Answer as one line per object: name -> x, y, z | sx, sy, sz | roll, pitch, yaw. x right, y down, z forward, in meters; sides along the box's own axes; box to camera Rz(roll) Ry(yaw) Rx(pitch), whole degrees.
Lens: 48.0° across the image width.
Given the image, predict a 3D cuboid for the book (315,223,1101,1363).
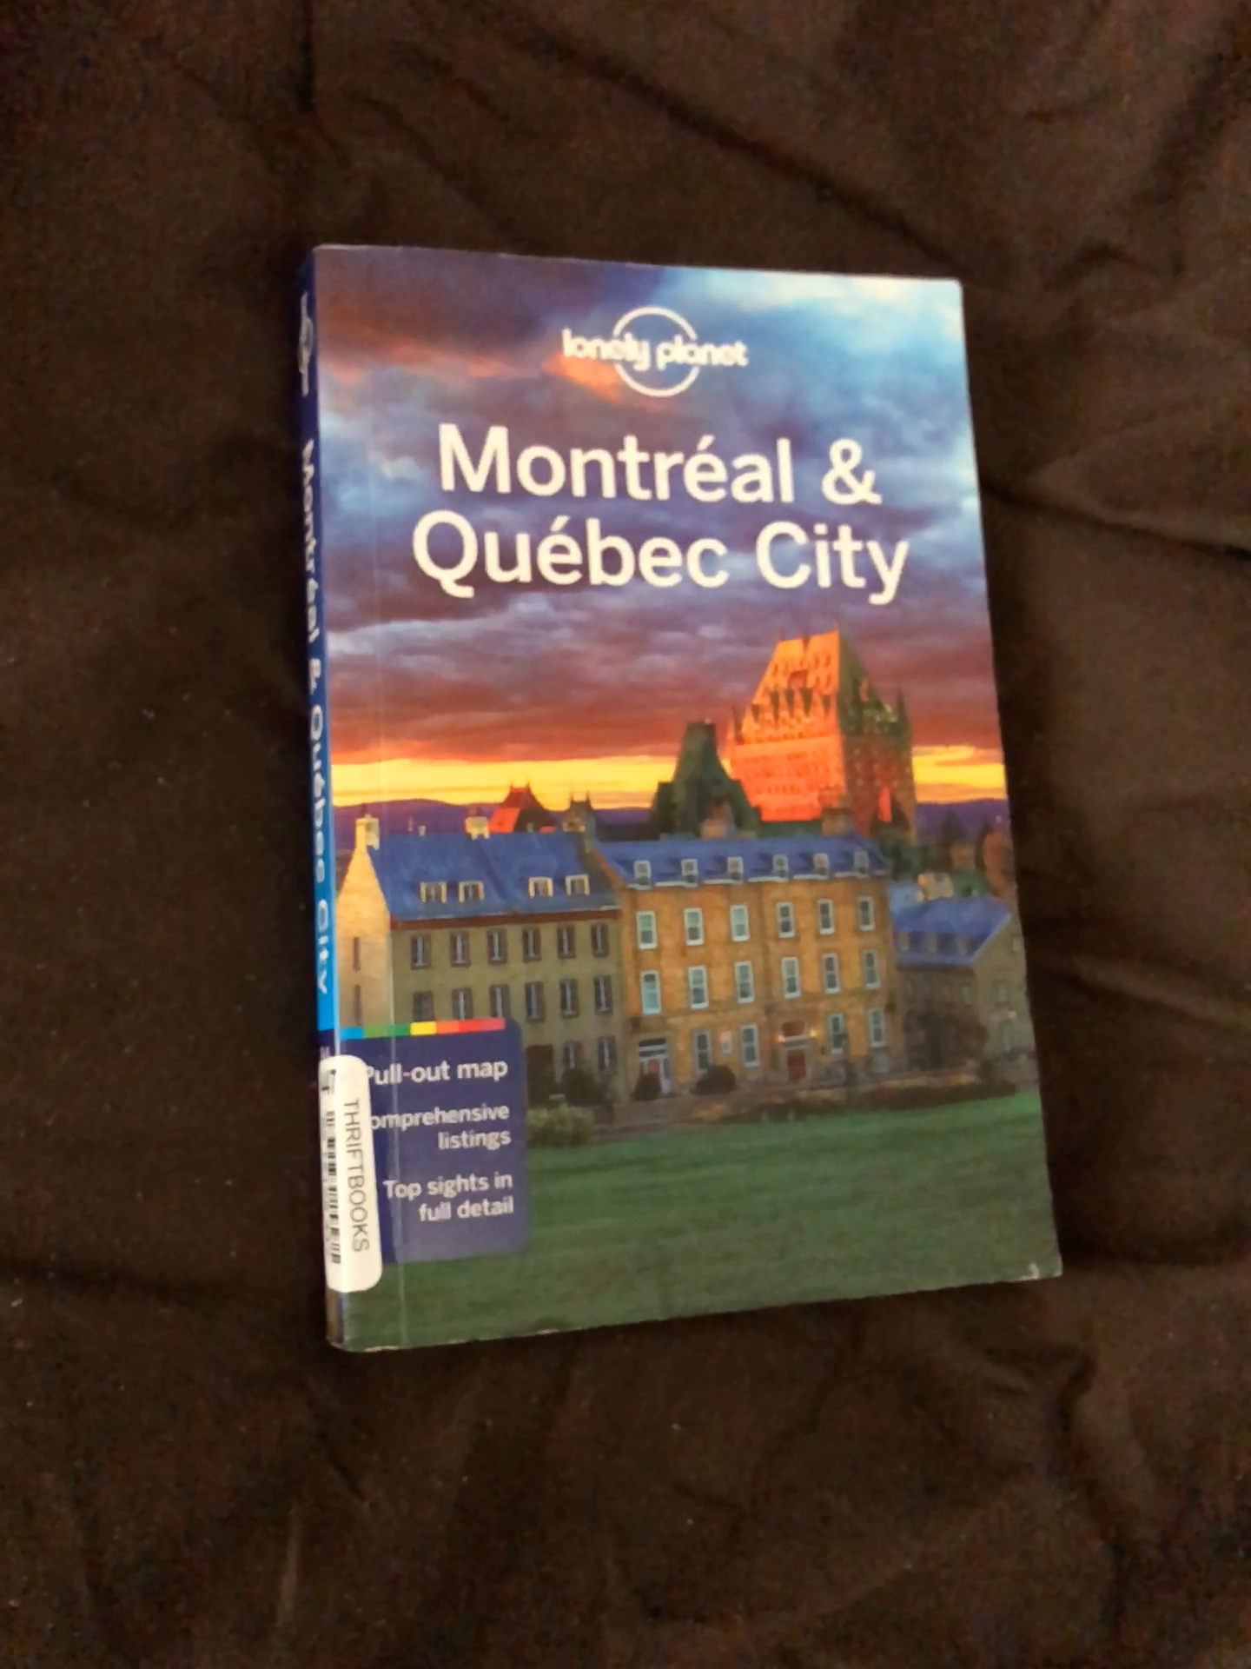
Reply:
book -> 0.013, -0.013, 0.273 | 0.137, 0.024, 0.205 | -2, 82, -10
